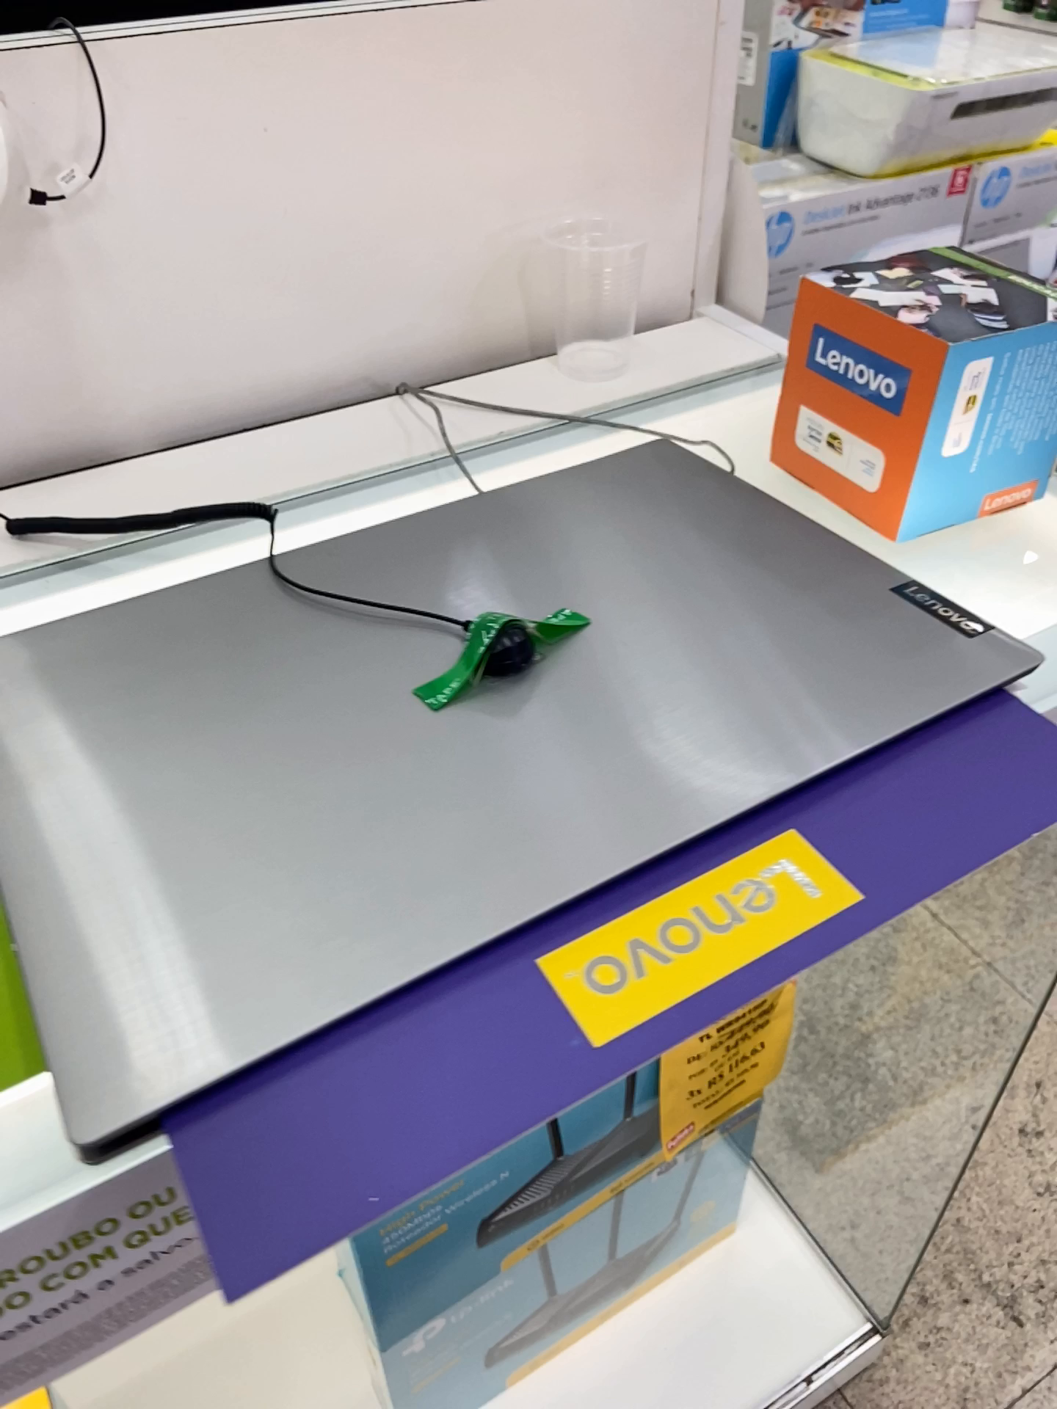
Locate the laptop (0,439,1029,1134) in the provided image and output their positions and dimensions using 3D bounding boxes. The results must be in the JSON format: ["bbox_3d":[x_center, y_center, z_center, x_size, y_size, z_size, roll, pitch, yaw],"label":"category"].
[{"bbox_3d":[-0.022,-0.015,0.435,0.362,0.001,0.240,-22,44,-23],"label":"laptop"}]
